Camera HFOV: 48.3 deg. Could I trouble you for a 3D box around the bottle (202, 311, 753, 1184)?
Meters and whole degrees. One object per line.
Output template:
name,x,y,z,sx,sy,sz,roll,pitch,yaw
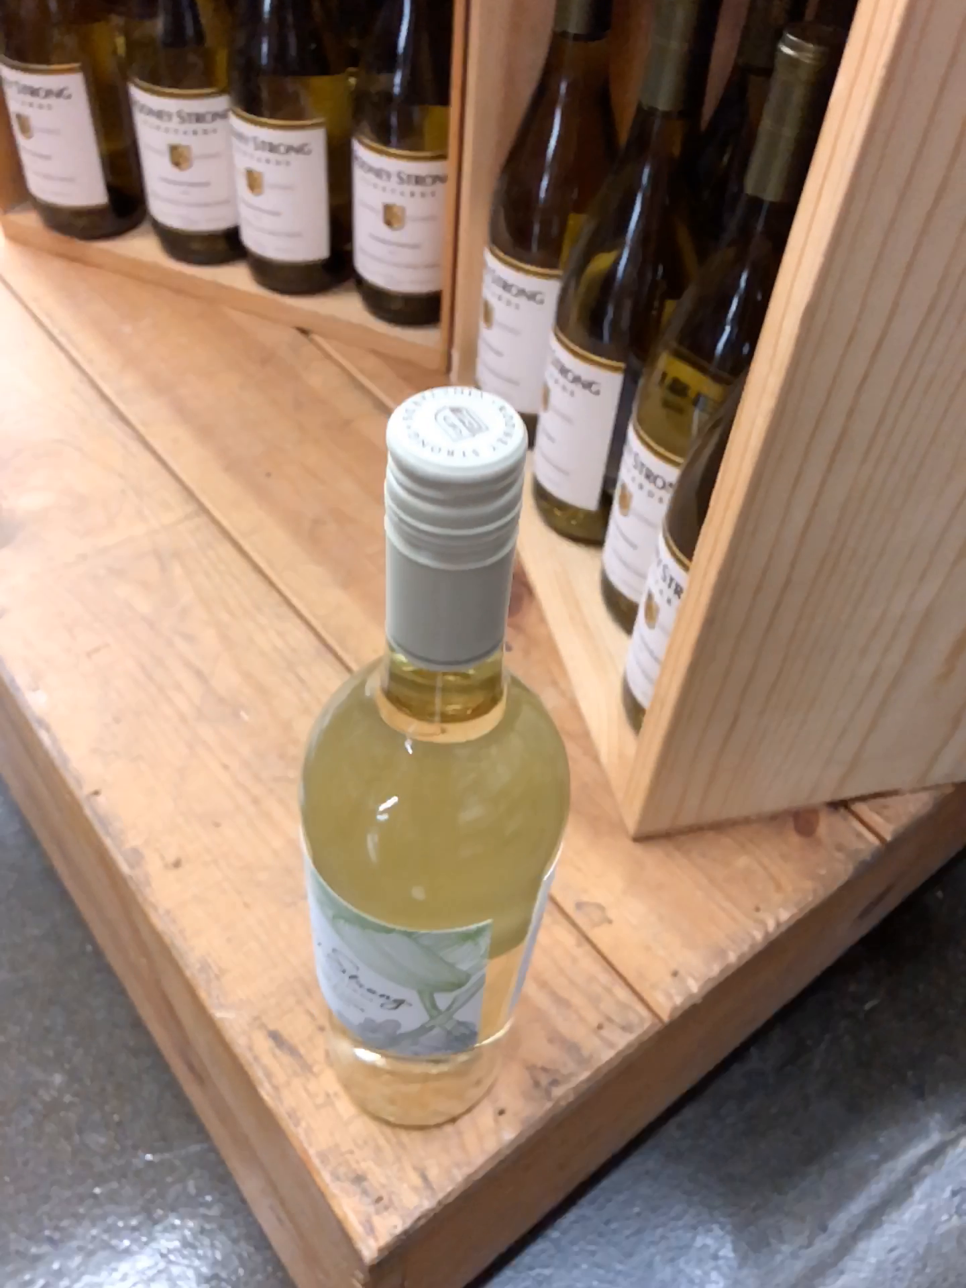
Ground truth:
bottle,-0.012,0.058,0.312,0.079,0.283,0.073,3,48,-3
